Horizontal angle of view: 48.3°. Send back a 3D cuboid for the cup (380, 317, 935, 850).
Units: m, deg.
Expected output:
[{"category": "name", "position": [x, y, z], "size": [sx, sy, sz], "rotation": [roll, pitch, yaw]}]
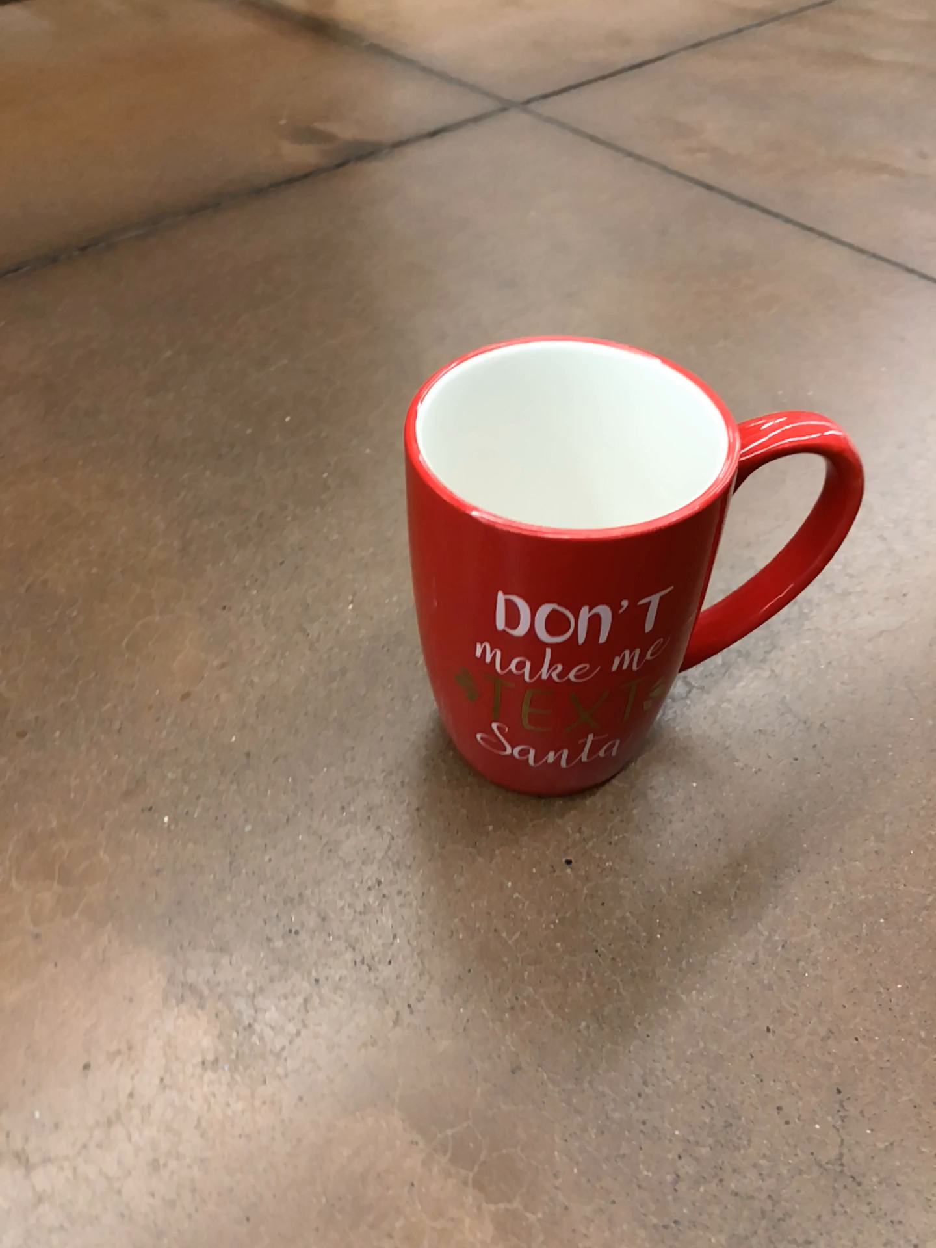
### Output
[{"category": "cup", "position": [0.044, -0.010, 0.325], "size": [0.130, 0.130, 0.090], "rotation": [-5, 46, -6]}]
